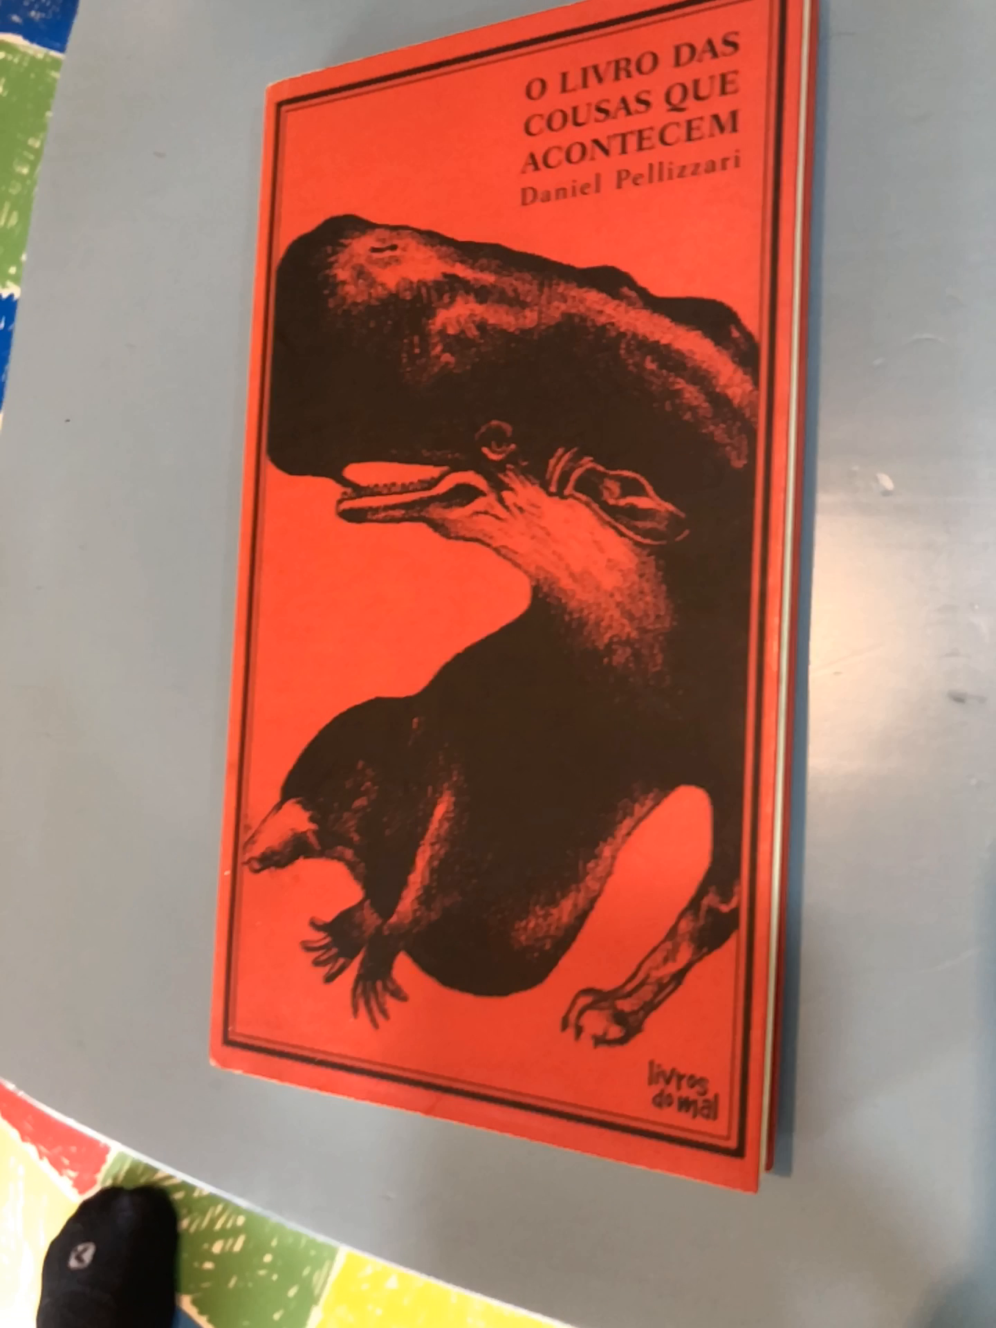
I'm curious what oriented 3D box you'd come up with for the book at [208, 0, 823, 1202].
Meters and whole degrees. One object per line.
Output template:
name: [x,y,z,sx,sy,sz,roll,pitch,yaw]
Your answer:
book: [0.000,-0.018,0.208,0.110,0.016,0.200,1,87,27]
